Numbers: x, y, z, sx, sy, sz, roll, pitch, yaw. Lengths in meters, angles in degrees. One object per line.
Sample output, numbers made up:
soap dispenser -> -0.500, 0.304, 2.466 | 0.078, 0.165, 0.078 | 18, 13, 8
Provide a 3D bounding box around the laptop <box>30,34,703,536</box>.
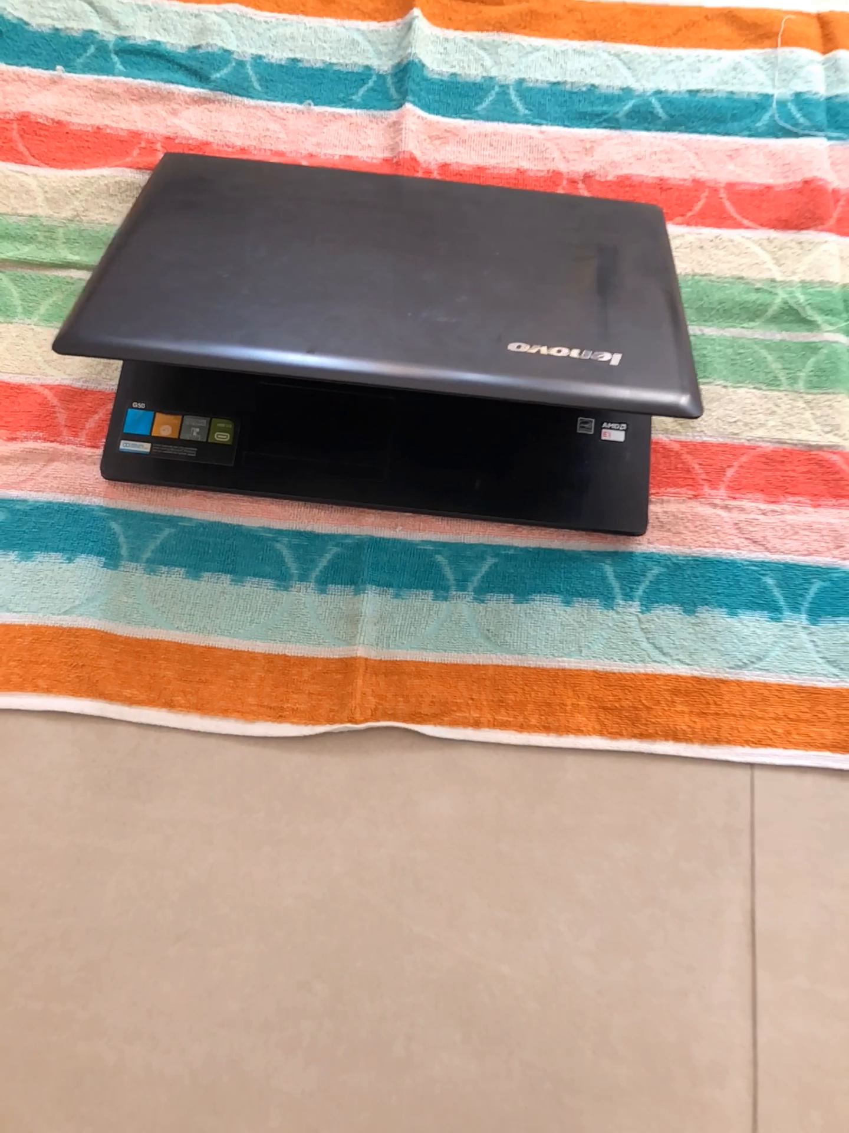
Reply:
laptop -> -0.020, -0.178, 0.606 | 0.363, 0.126, 0.253 | 7, 70, -1
